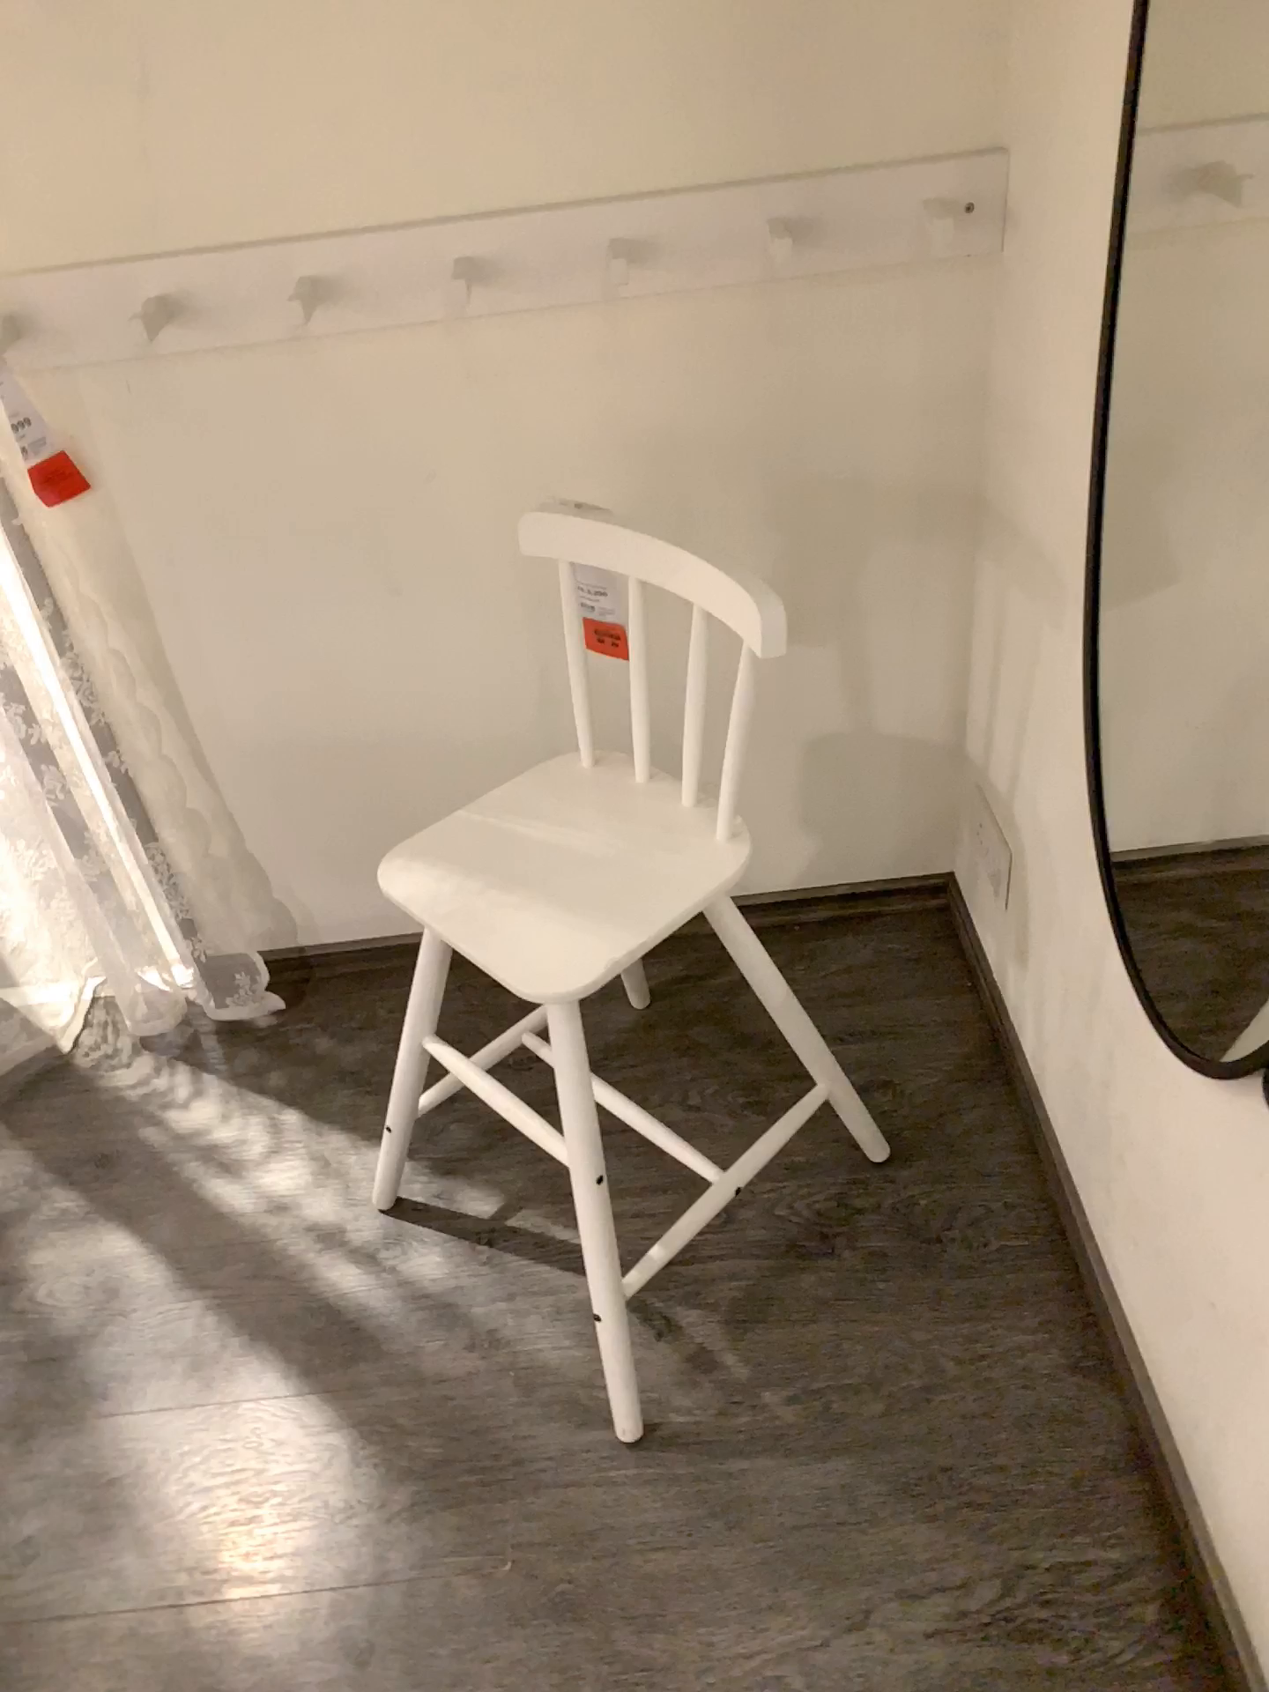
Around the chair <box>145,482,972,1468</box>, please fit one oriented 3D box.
[{"bbox_3d":[-0.030,0.103,1.223,0.451,0.657,0.481,28,51,36],"label":"chair"}]
